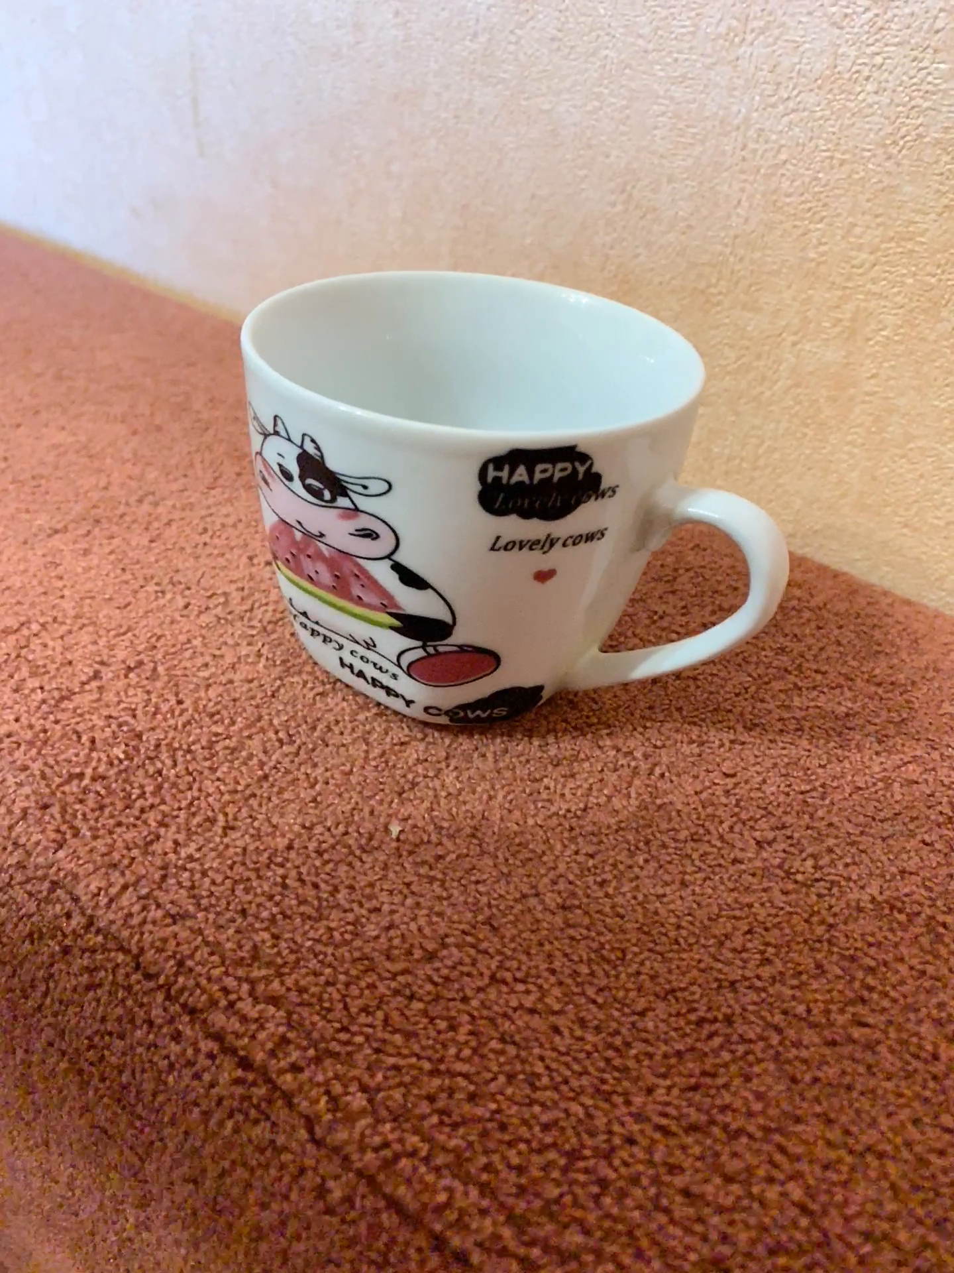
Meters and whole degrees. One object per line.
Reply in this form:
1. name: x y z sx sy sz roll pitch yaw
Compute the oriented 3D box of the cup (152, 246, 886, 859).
1. cup: 0.005 -0.026 0.183 0.095 0.056 0.079 31 44 33
